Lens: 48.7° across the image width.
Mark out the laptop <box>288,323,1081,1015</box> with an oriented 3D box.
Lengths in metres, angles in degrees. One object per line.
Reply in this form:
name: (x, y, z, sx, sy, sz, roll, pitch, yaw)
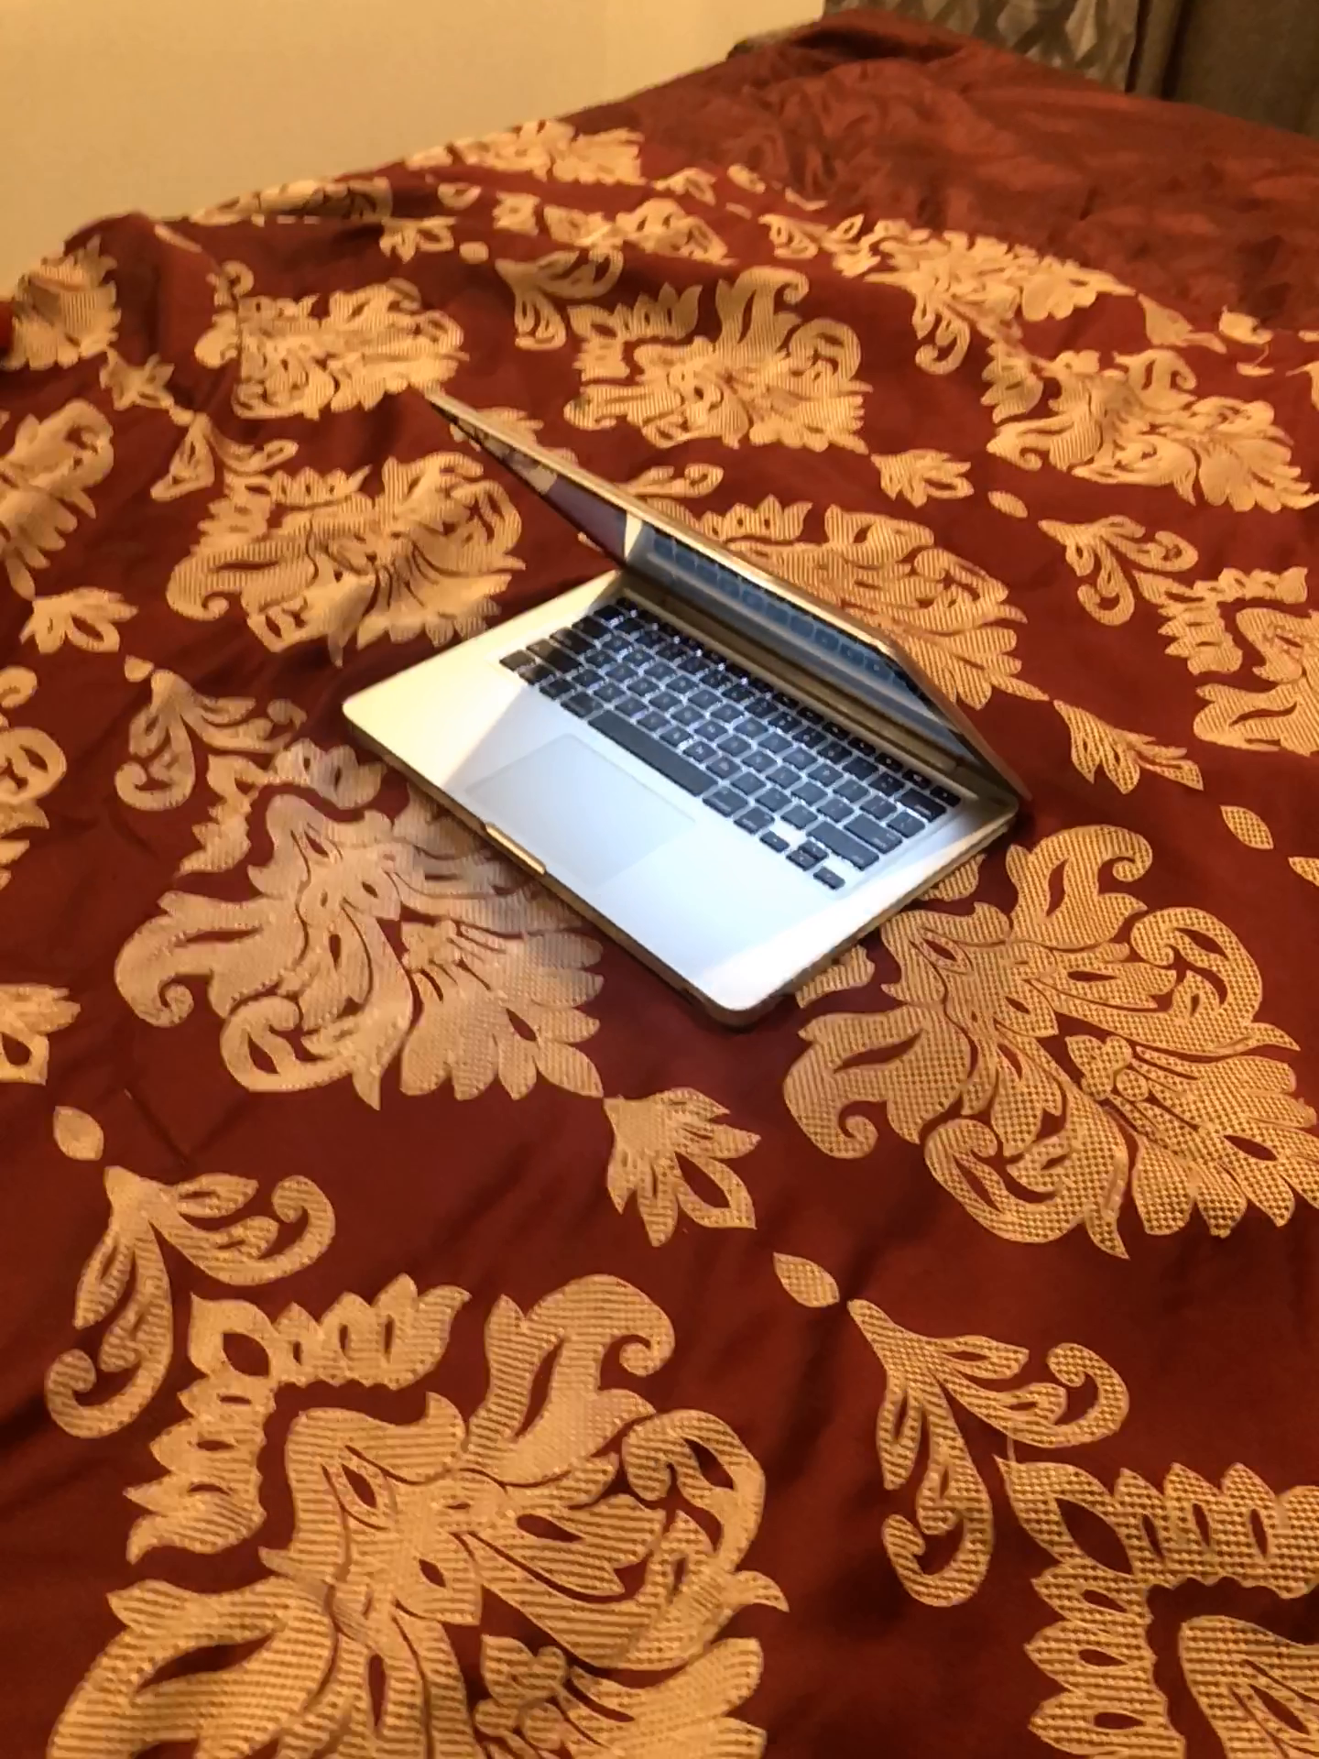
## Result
laptop: (0.004, -0.126, 0.737, 0.212, 0.156, 0.313, -33, 53, -31)
